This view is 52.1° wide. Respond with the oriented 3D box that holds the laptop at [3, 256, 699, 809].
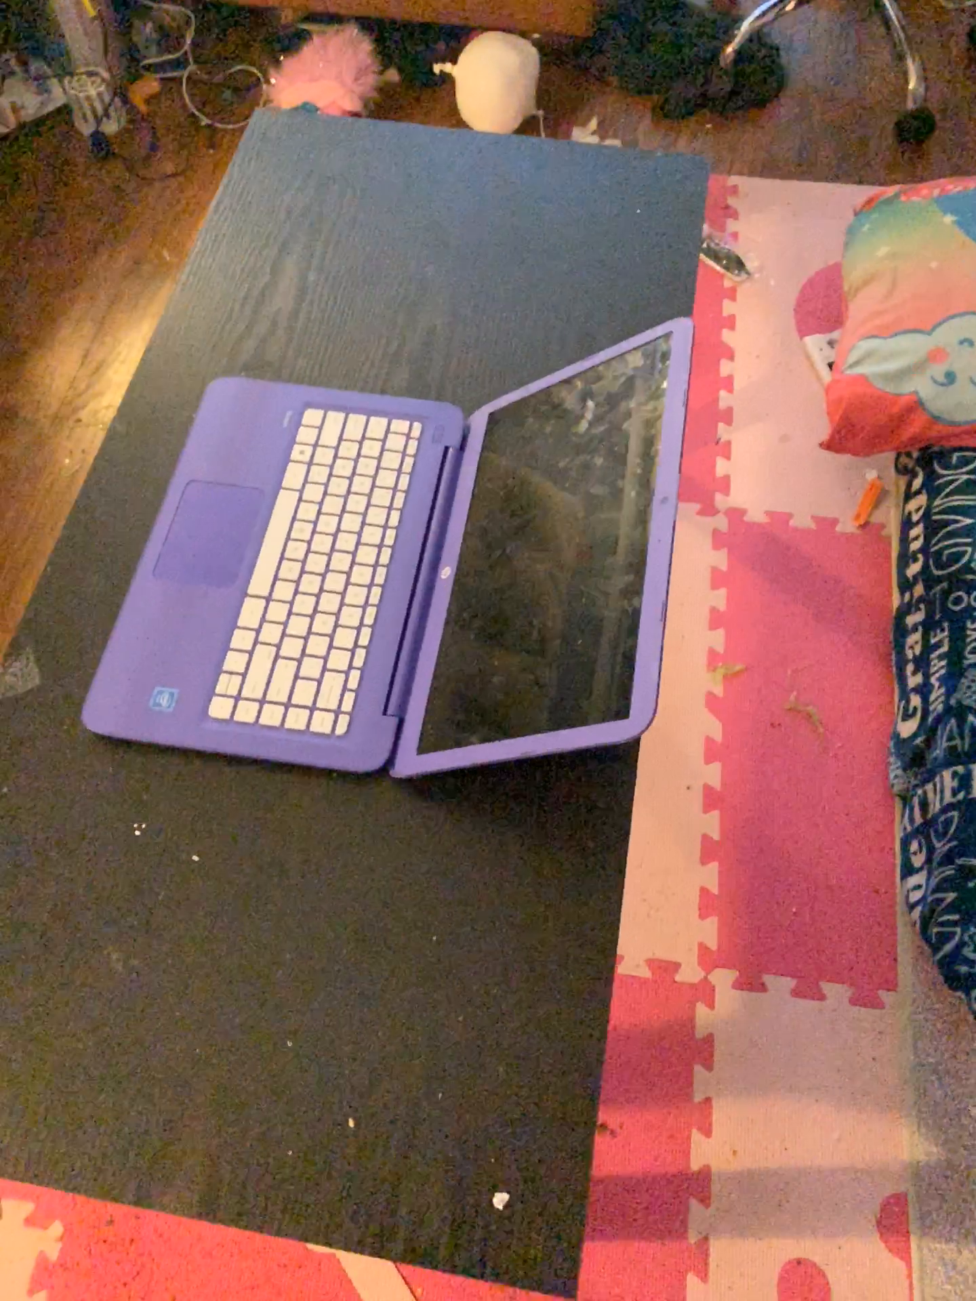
[{"bbox_3d":[-0.070,-0.096,0.725,0.397,0.132,0.340,8,62,5],"label":"laptop"}]
